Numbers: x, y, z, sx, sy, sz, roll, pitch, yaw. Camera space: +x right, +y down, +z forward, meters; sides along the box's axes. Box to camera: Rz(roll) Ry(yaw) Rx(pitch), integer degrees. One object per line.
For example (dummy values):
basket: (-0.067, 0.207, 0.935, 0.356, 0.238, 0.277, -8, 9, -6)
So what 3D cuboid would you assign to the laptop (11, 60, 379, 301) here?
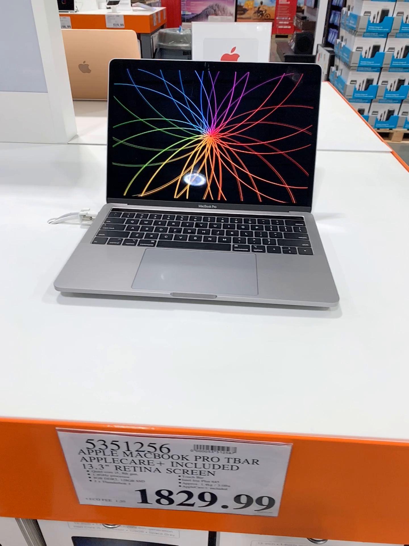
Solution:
laptop: (0.001, -0.136, 0.500, 0.289, 0.164, 0.308, 3, 35, 4)
